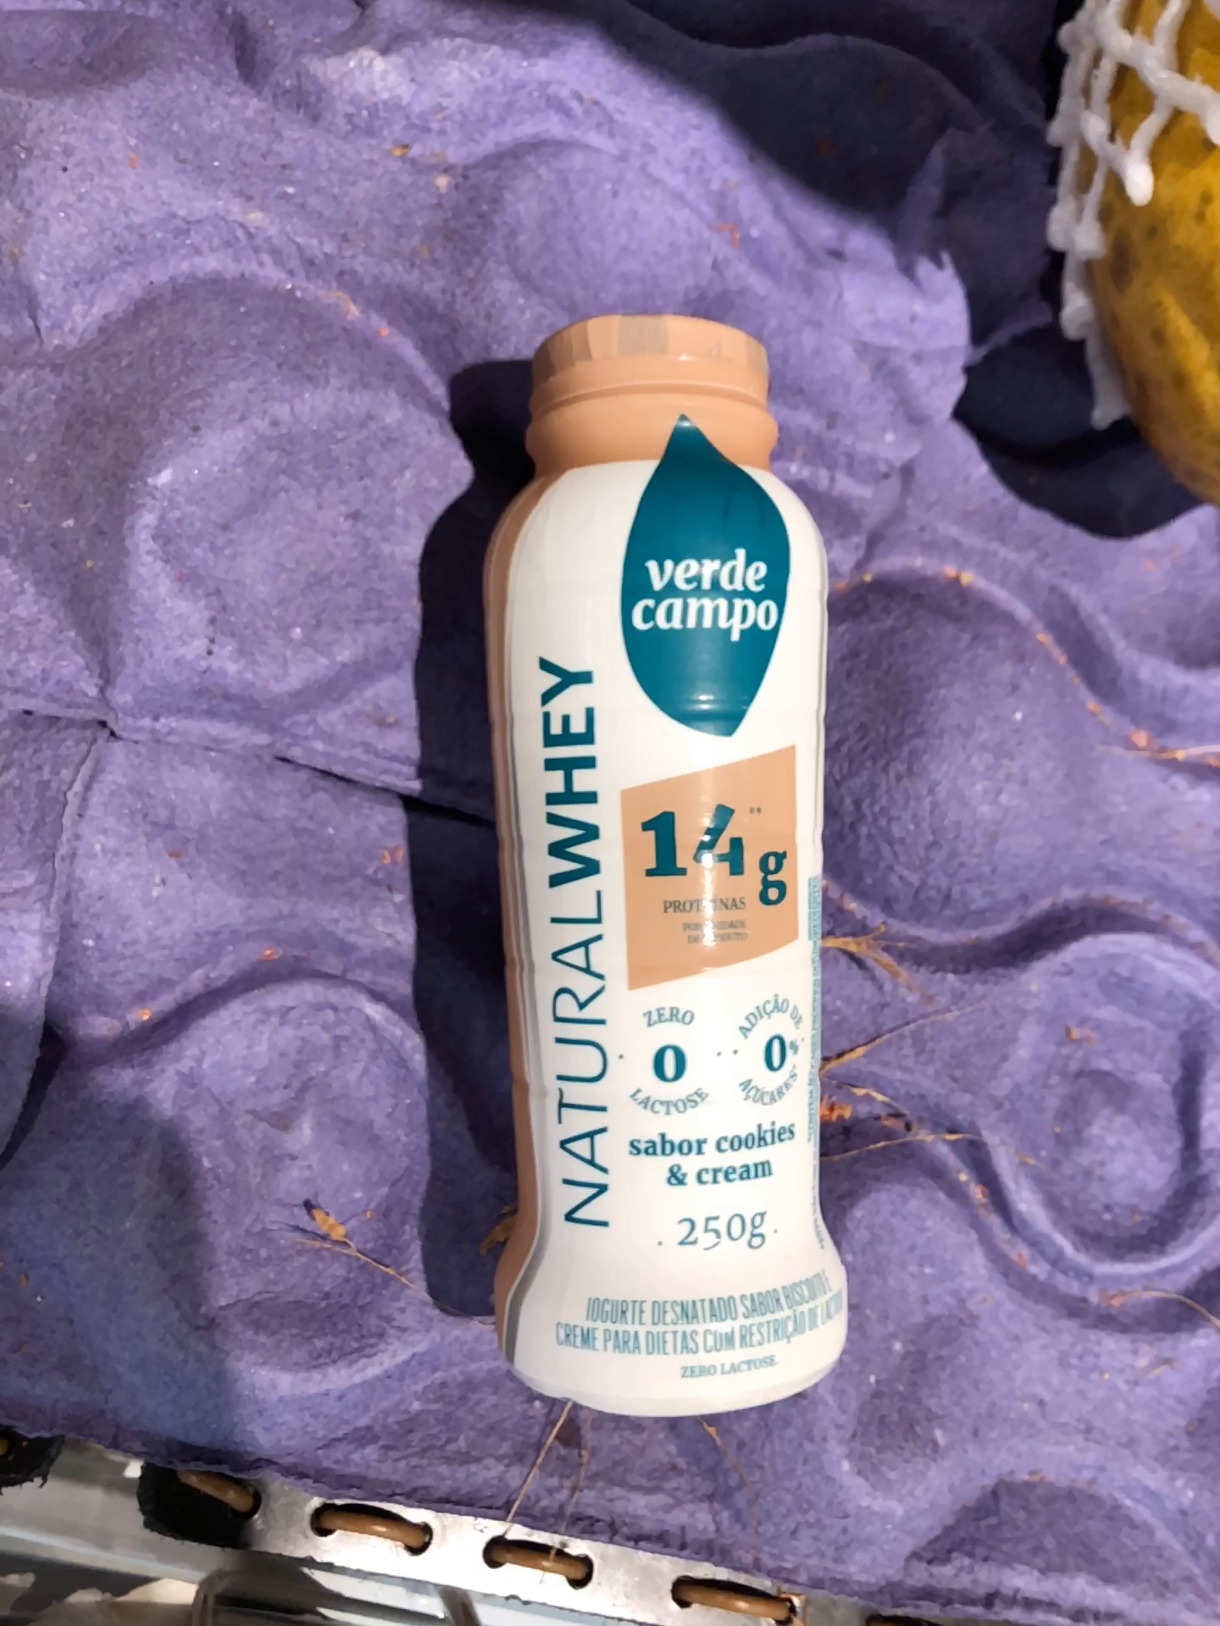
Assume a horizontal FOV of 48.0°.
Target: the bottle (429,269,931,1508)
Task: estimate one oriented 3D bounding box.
[{"bbox_3d":[0.009,0.009,0.207,0.060,0.040,0.160,-1,89,-21],"label":"bottle"}]
